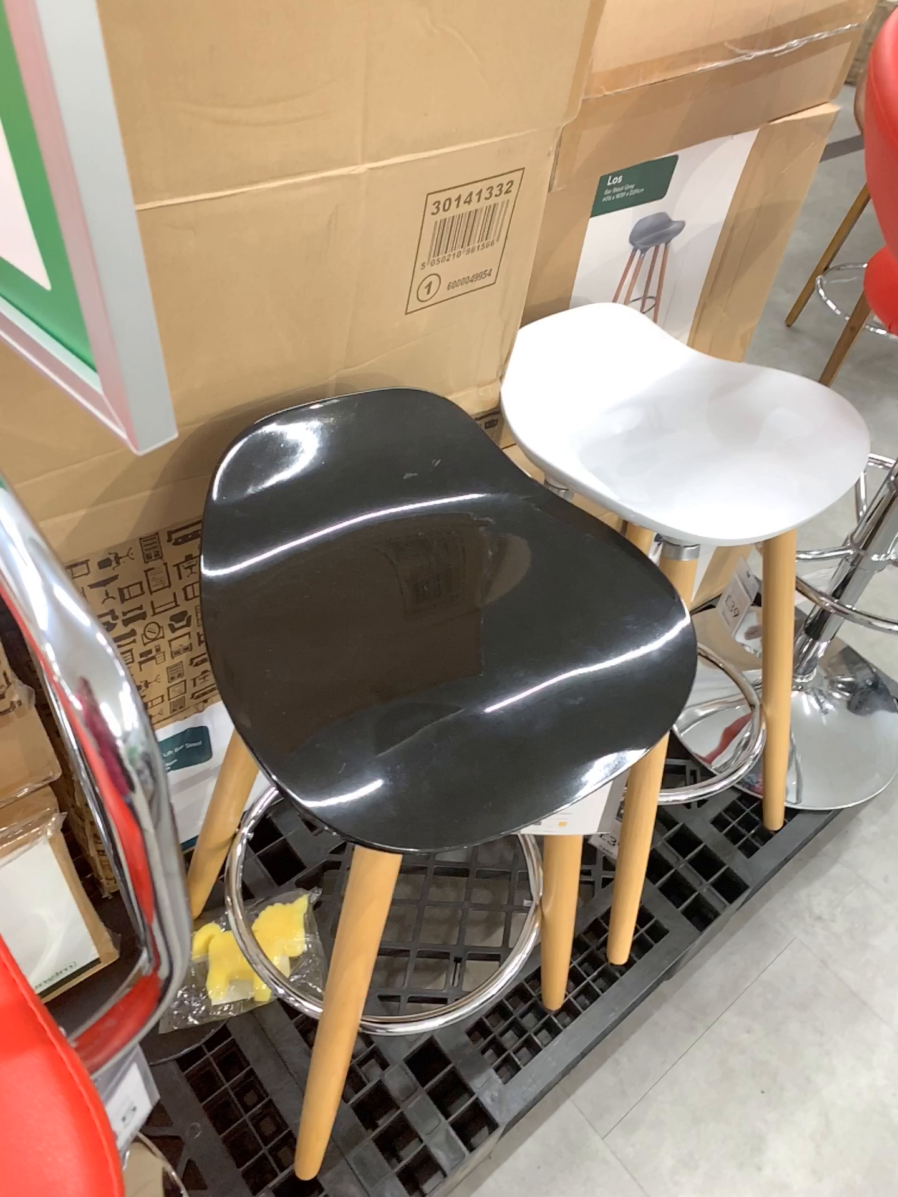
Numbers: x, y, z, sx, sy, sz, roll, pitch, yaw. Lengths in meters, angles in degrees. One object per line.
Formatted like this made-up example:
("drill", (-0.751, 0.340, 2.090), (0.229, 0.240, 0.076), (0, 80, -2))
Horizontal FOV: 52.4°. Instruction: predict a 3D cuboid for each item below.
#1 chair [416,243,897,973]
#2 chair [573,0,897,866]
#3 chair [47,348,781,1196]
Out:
("chair", (0.265, 0.036, 1.130), (0.385, 0.721, 0.418), (-27, 55, -29))
("chair", (0.596, -0.186, 1.220), (0.476, 0.979, 0.479), (-27, 55, -29))
("chair", (-0.073, 0.206, 0.920), (0.385, 0.721, 0.399), (-21, 53, -26))
